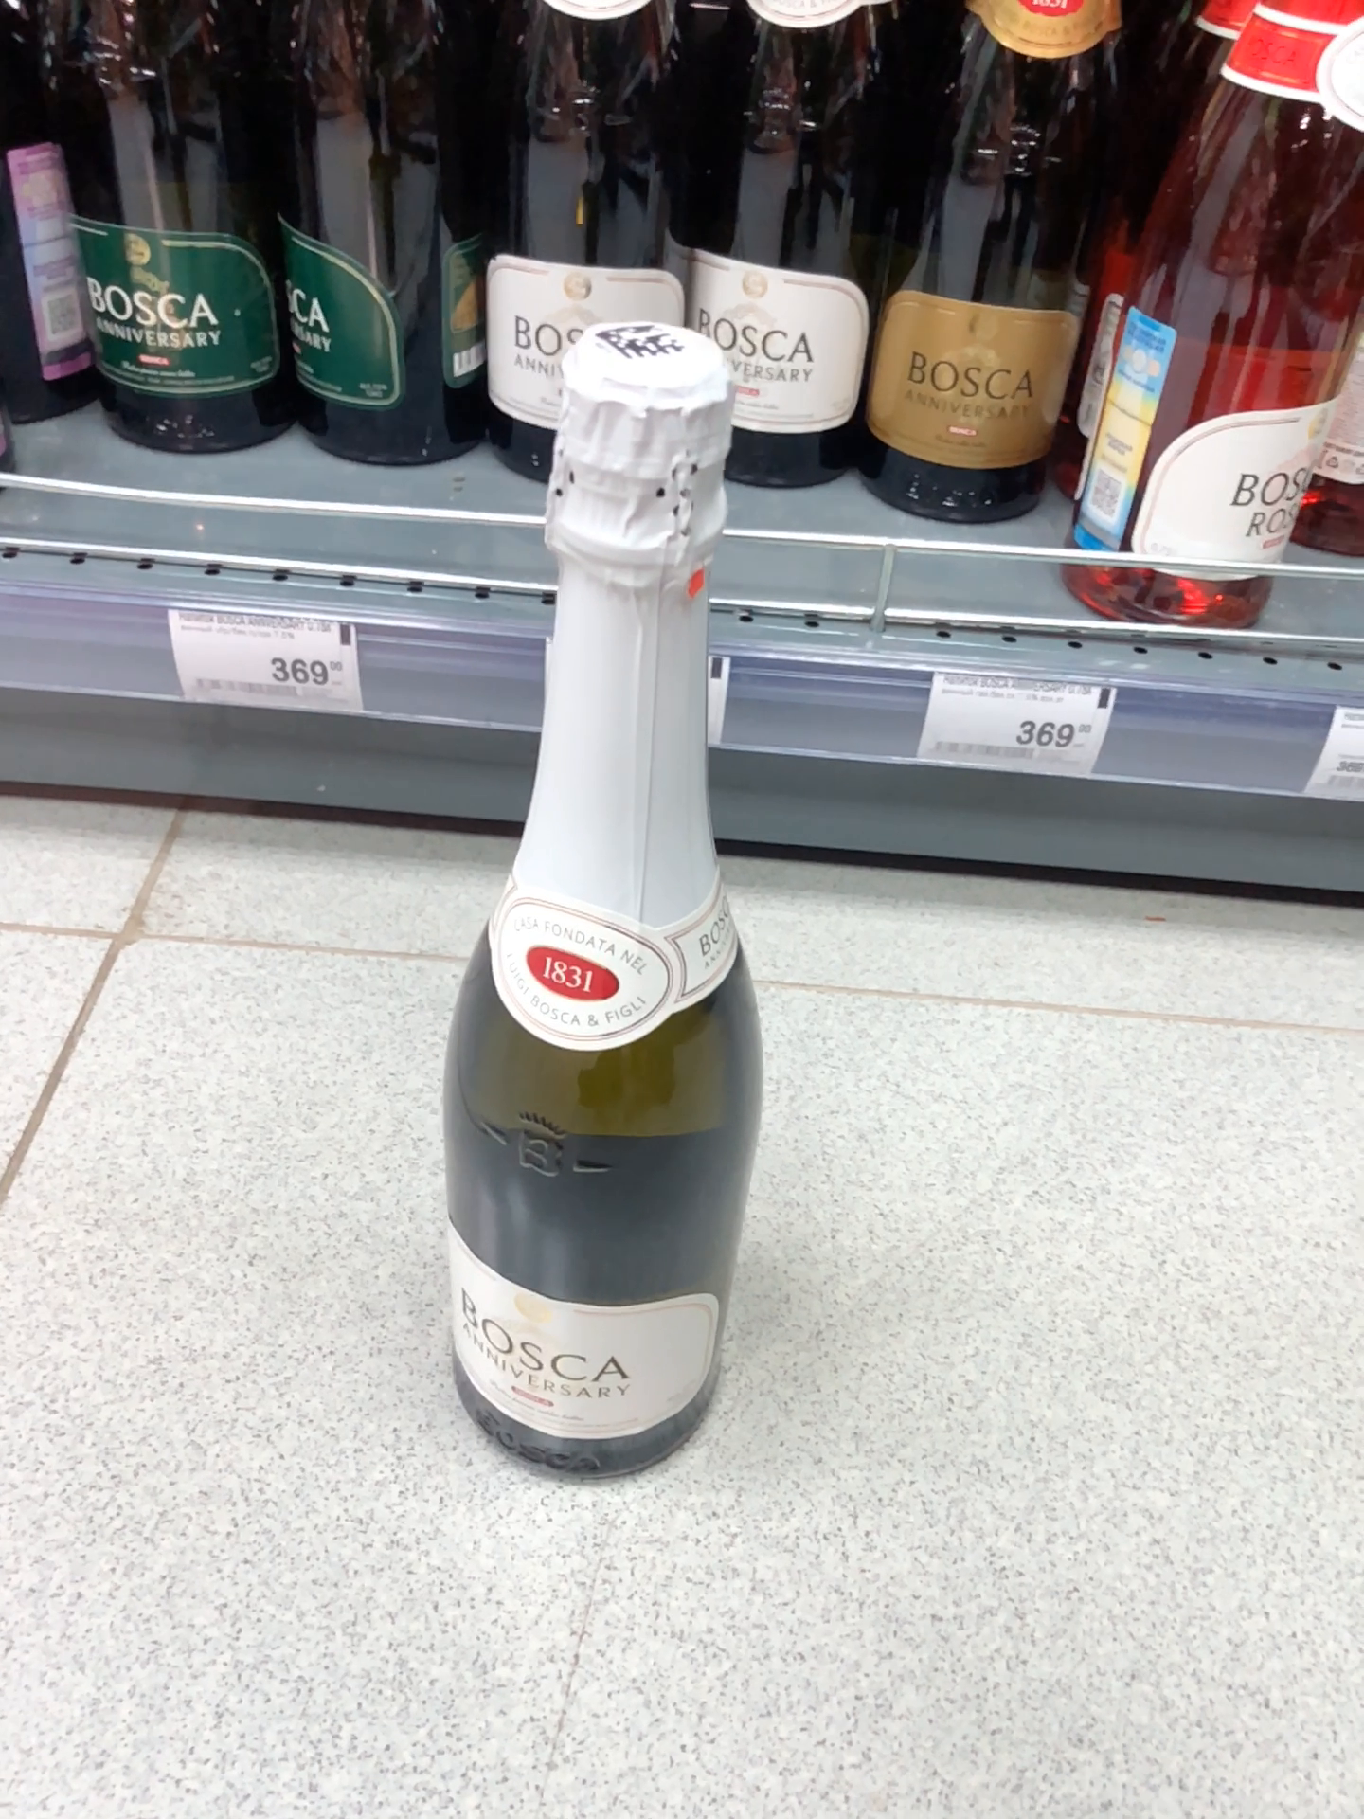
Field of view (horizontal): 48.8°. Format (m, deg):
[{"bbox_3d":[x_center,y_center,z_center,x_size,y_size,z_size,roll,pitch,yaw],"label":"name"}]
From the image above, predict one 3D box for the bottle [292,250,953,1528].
[{"bbox_3d":[-0.018,0.019,0.370,0.090,0.308,0.090,3,40,-3],"label":"bottle"}]
